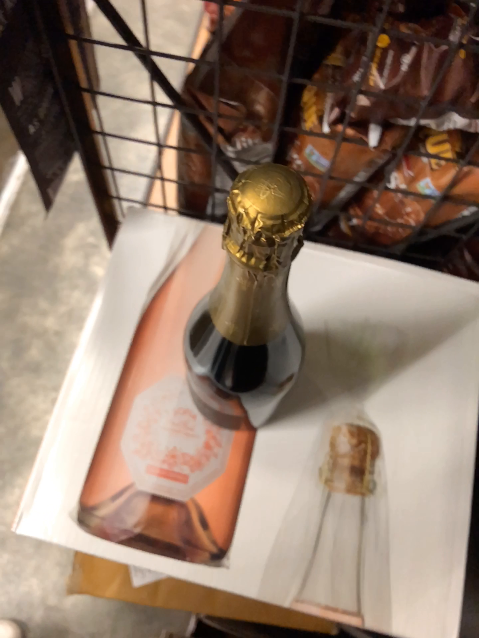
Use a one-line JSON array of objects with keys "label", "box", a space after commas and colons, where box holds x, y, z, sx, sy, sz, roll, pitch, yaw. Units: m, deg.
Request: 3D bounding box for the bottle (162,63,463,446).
[{"label": "bottle", "box": [0.012, 0.003, 0.333, 0.090, 0.310, 0.090, 1, 68, -4]}]
